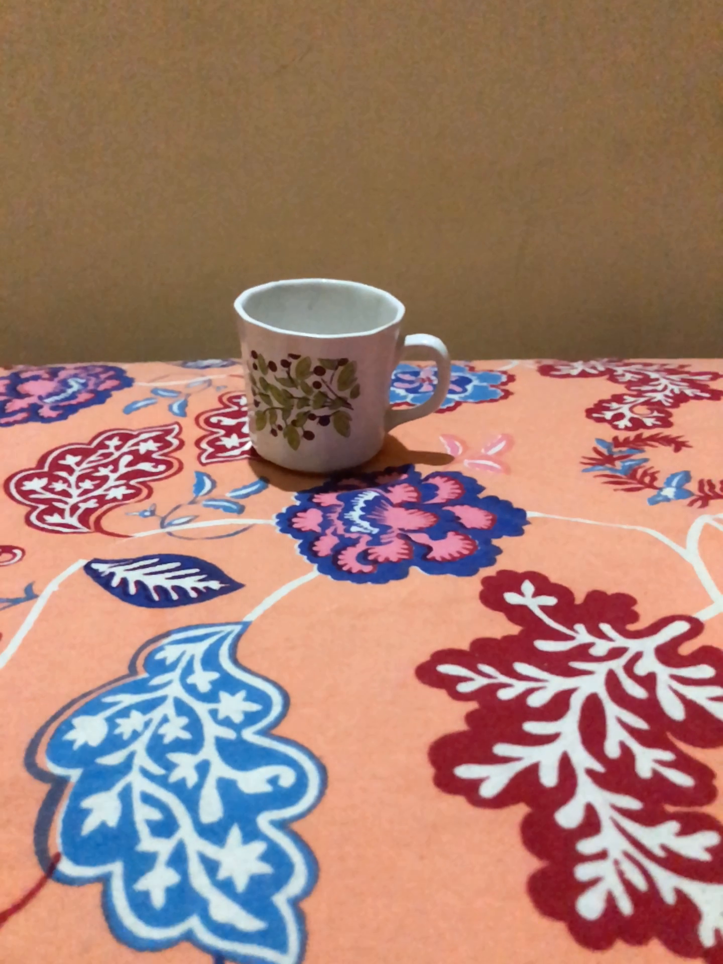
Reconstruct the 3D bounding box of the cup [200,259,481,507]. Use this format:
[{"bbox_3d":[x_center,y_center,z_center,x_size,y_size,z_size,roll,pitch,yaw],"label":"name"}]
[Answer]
[{"bbox_3d":[-0.004,-0.041,0.311,0.090,0.070,0.060,6,32,13],"label":"cup"}]
